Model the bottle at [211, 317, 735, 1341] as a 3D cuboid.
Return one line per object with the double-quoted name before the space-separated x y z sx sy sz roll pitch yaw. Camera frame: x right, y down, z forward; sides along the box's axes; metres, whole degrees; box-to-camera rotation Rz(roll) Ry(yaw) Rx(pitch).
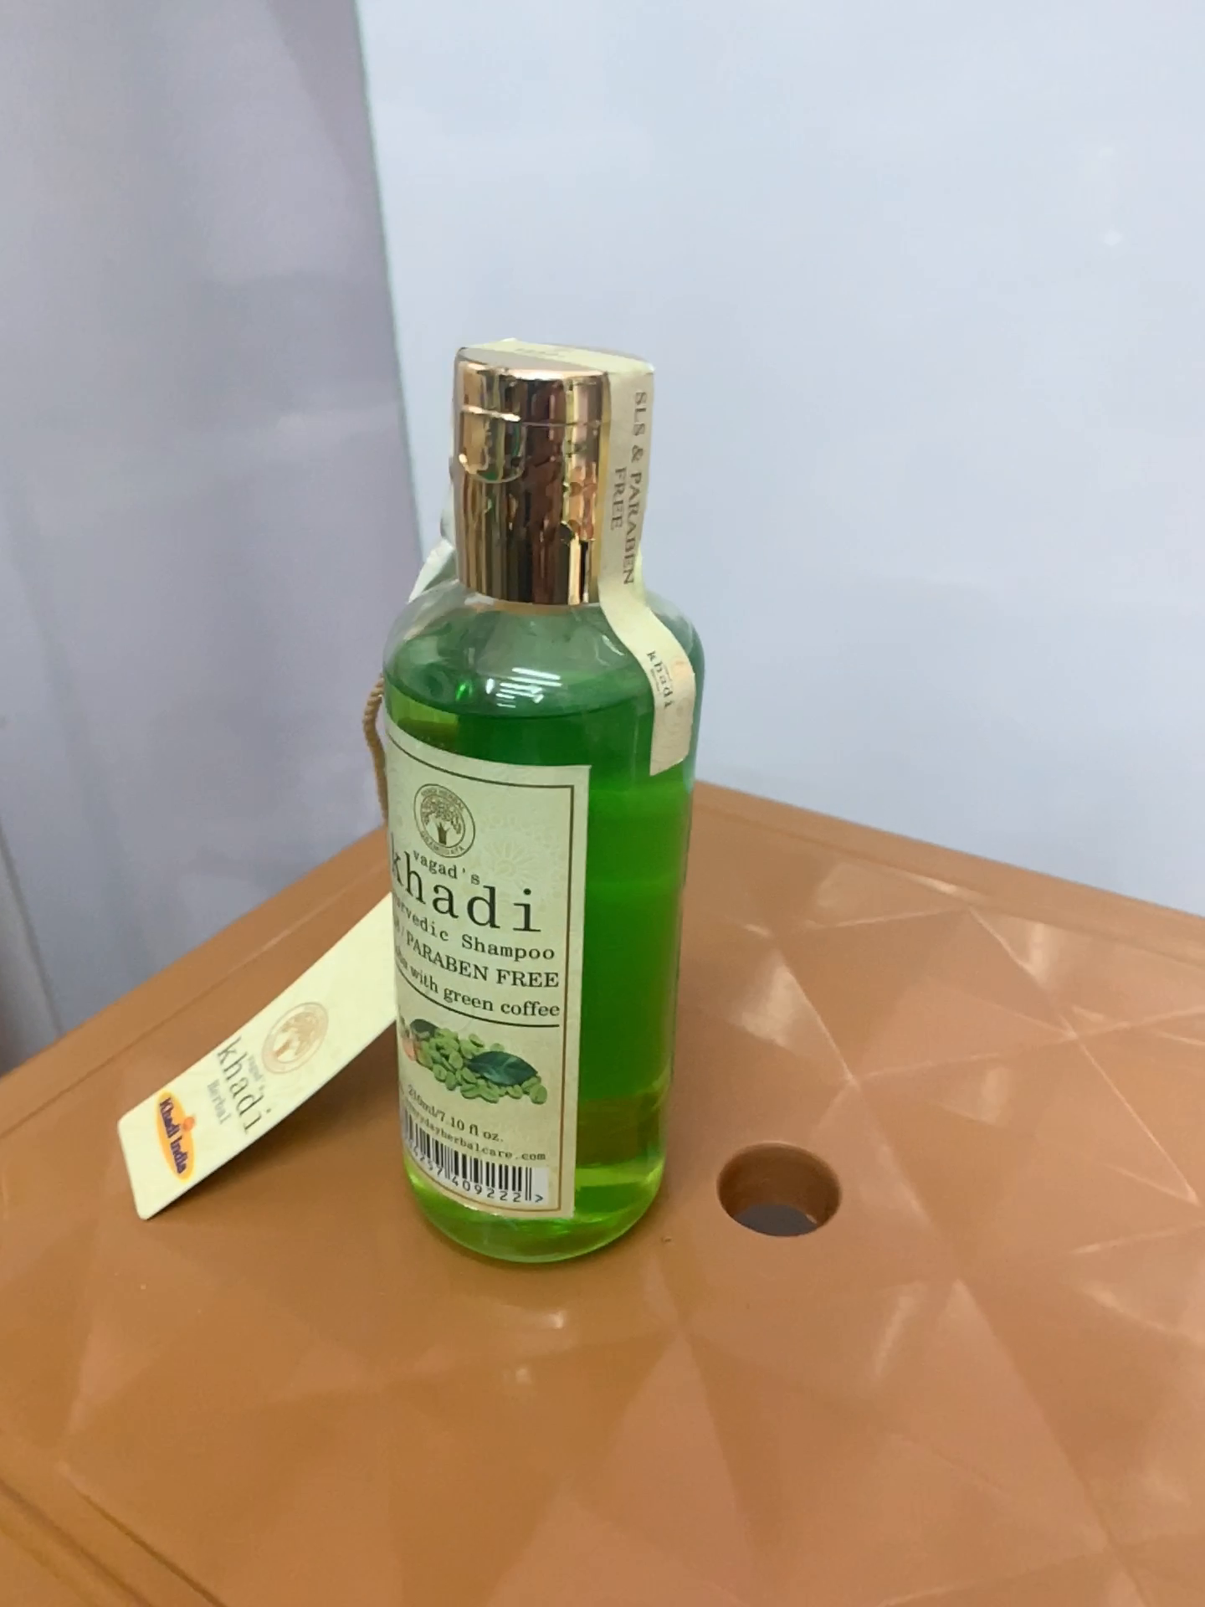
"bottle" -0.017 0.005 0.204 0.050 0.149 0.050 0 26 0
